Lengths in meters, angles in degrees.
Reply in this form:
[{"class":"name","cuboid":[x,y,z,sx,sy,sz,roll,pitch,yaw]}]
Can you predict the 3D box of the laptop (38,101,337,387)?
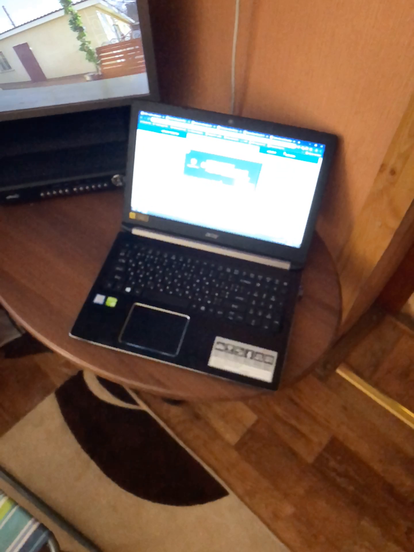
[{"class":"laptop","cuboid":[-0.006,-0.069,0.806,0.372,0.186,0.391,13,59,8]}]
